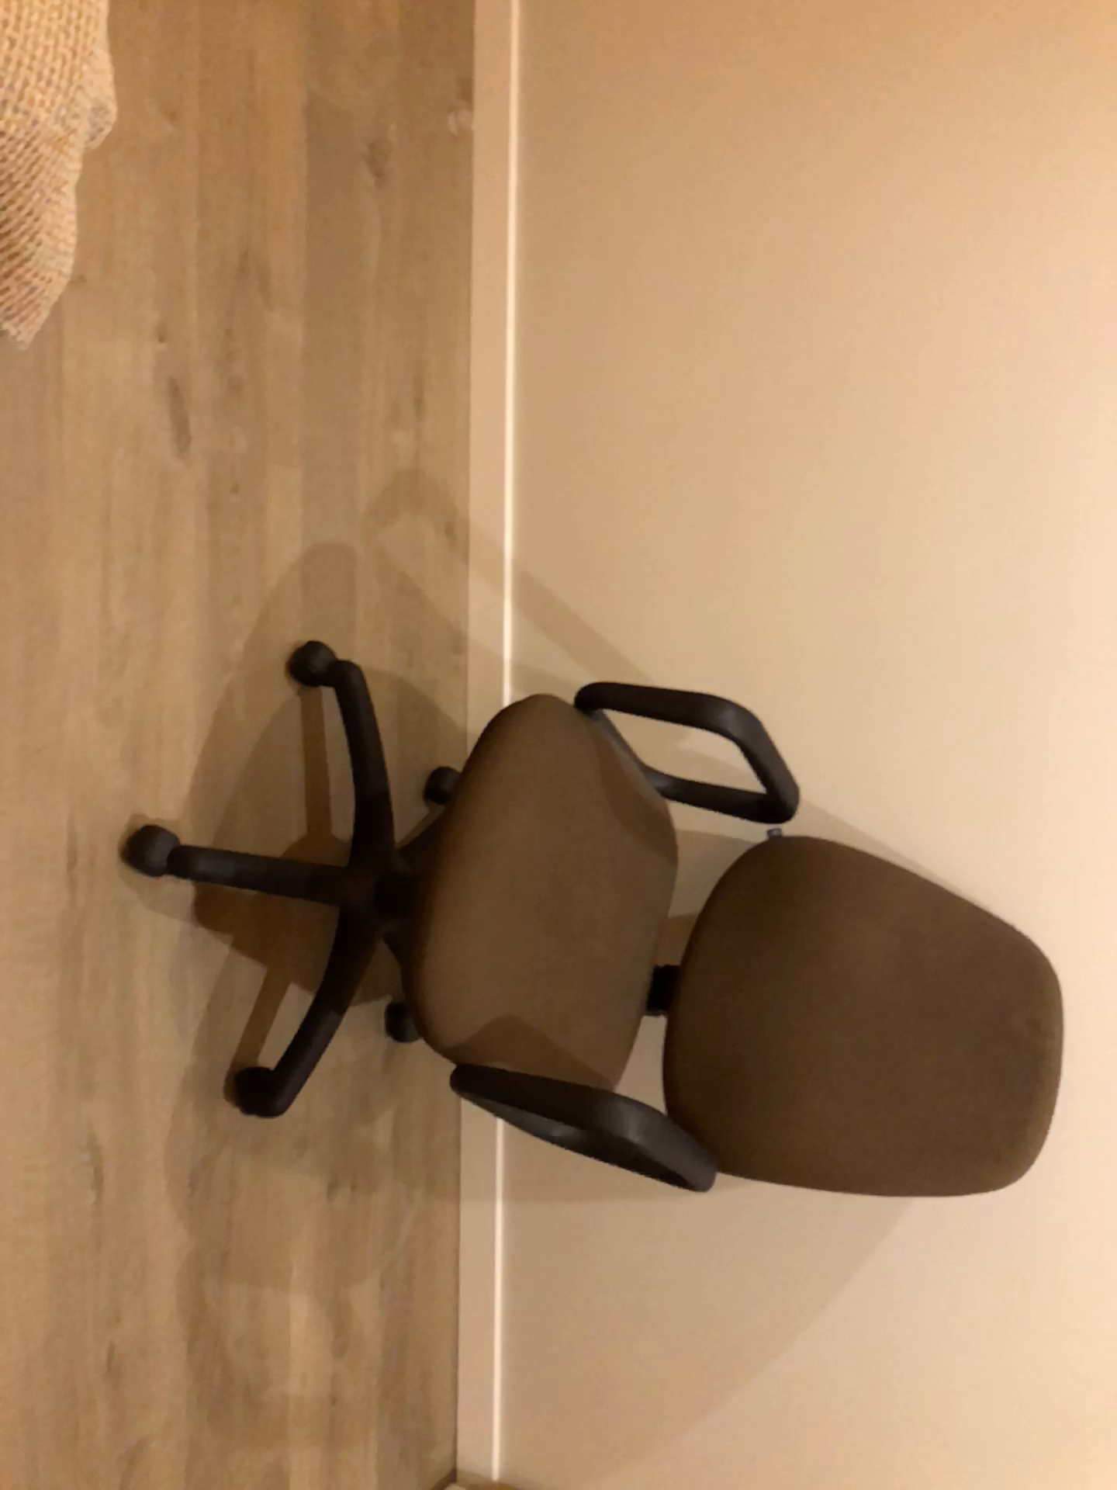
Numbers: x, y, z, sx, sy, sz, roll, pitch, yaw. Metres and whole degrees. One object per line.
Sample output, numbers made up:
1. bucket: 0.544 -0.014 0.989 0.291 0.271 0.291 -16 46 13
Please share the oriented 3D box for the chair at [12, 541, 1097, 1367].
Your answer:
1. chair: 0.058 0.240 1.507 0.713 0.974 0.631 48 53 -50
